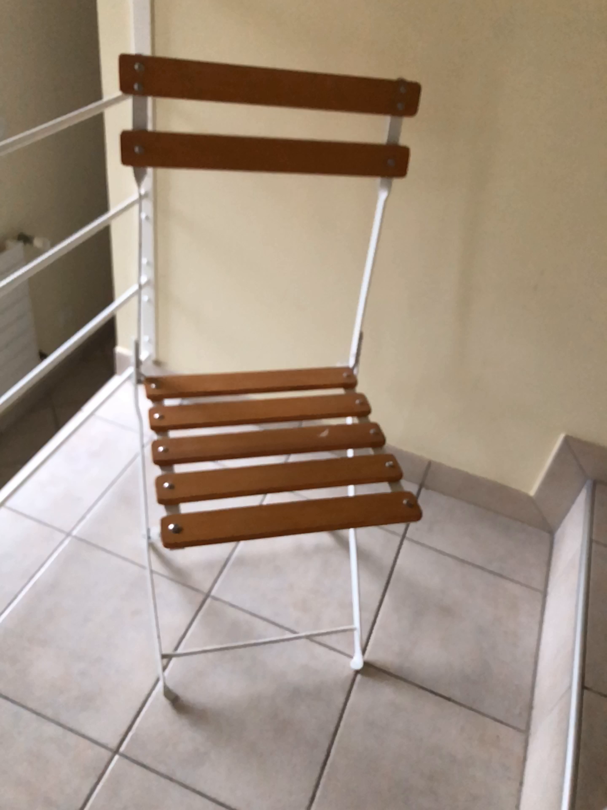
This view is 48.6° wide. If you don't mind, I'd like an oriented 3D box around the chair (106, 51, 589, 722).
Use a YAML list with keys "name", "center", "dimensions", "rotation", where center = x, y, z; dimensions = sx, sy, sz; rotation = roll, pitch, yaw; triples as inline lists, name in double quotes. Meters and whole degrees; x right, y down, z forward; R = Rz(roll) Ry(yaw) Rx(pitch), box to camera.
- name: "chair"
  center: [-0.041, 0.016, 1.020]
  dimensions: [0.441, 0.875, 0.432]
  rotation: [-3, 40, -15]
